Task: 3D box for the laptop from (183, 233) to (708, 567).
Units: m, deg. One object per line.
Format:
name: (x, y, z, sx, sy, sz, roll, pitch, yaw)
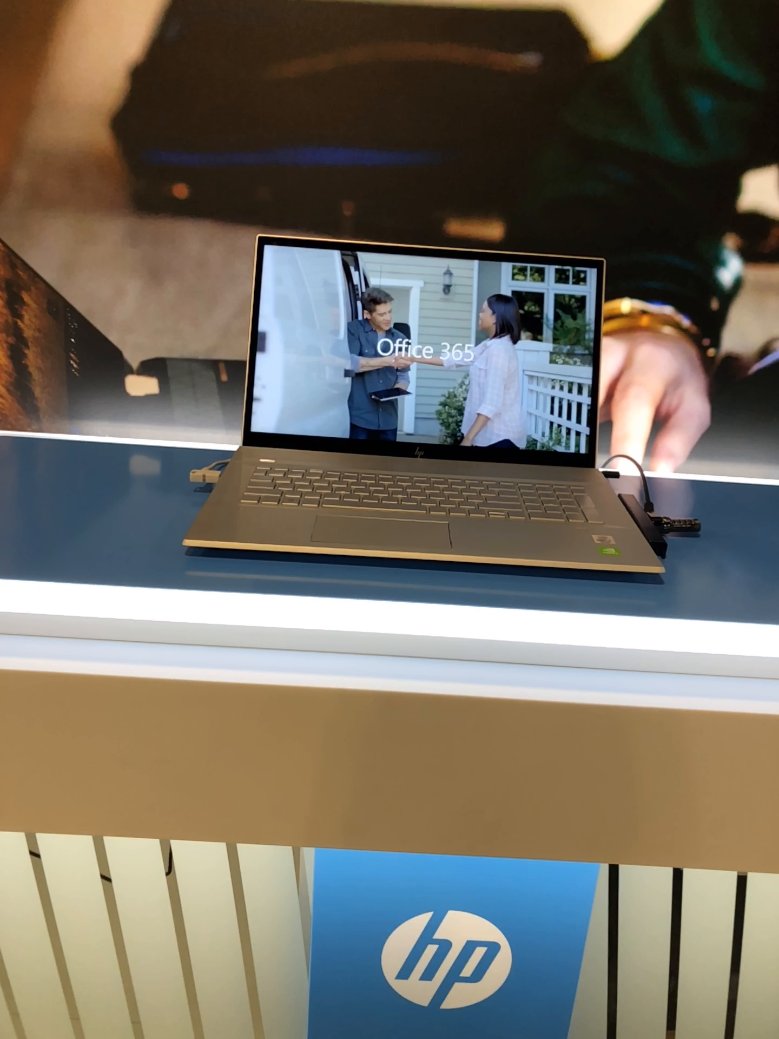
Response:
laptop: (0.039, -0.149, 0.862, 0.400, 0.217, 0.385, 3, 22, 0)
